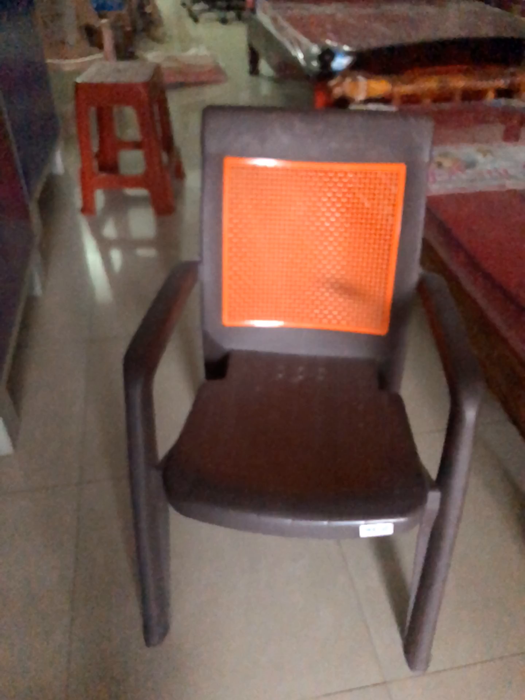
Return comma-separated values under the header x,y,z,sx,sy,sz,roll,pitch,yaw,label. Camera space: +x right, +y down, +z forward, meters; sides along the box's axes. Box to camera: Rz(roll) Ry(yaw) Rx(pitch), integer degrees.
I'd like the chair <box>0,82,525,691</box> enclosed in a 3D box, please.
x,y,z,sx,sy,sz,roll,pitch,yaw,label
0.033,0.070,1.167,0.710,0.935,0.714,3,39,3,chair
